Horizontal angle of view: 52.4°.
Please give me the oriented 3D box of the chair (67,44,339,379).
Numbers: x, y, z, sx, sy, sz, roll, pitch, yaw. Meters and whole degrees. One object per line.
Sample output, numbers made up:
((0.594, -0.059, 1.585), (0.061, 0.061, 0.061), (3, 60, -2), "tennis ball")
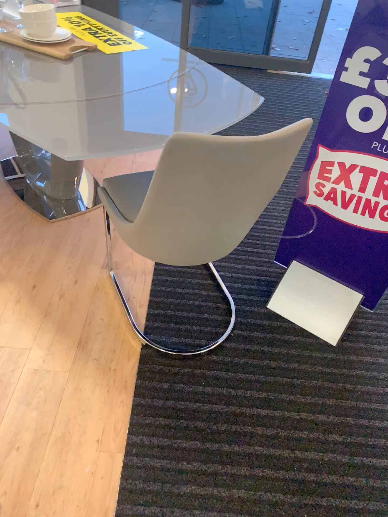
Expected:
((-0.046, -0.158, 1.326), (0.508, 0.846, 0.594), (-16, 47, -23), "chair")
